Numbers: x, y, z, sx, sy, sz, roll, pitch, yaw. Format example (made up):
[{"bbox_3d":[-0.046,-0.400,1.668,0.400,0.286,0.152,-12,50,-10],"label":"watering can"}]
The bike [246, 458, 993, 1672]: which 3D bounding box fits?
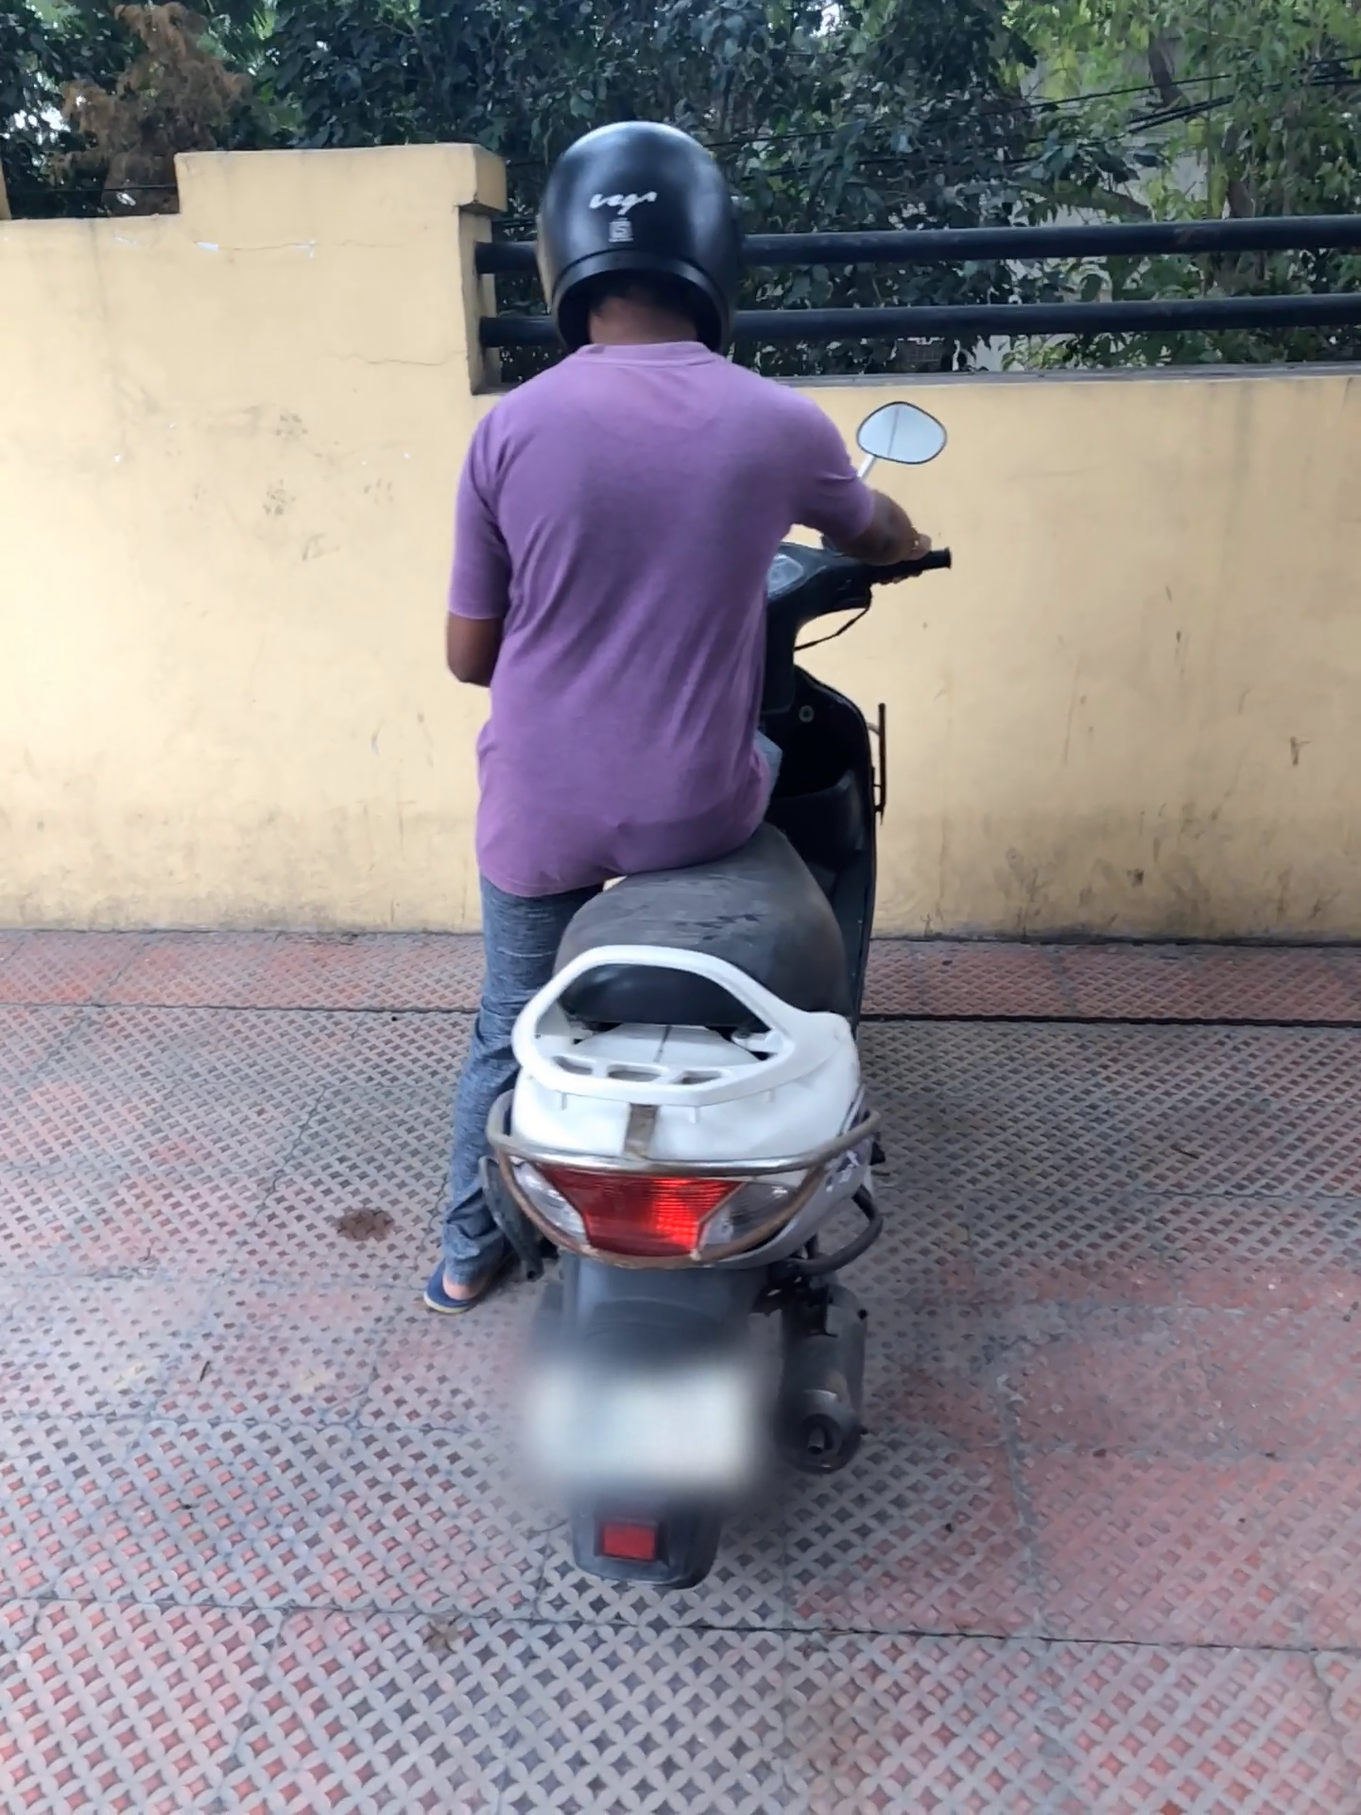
[{"bbox_3d":[0.009,0.012,2.111,0.643,0.949,1.509,1,27,6],"label":"bike"}]
